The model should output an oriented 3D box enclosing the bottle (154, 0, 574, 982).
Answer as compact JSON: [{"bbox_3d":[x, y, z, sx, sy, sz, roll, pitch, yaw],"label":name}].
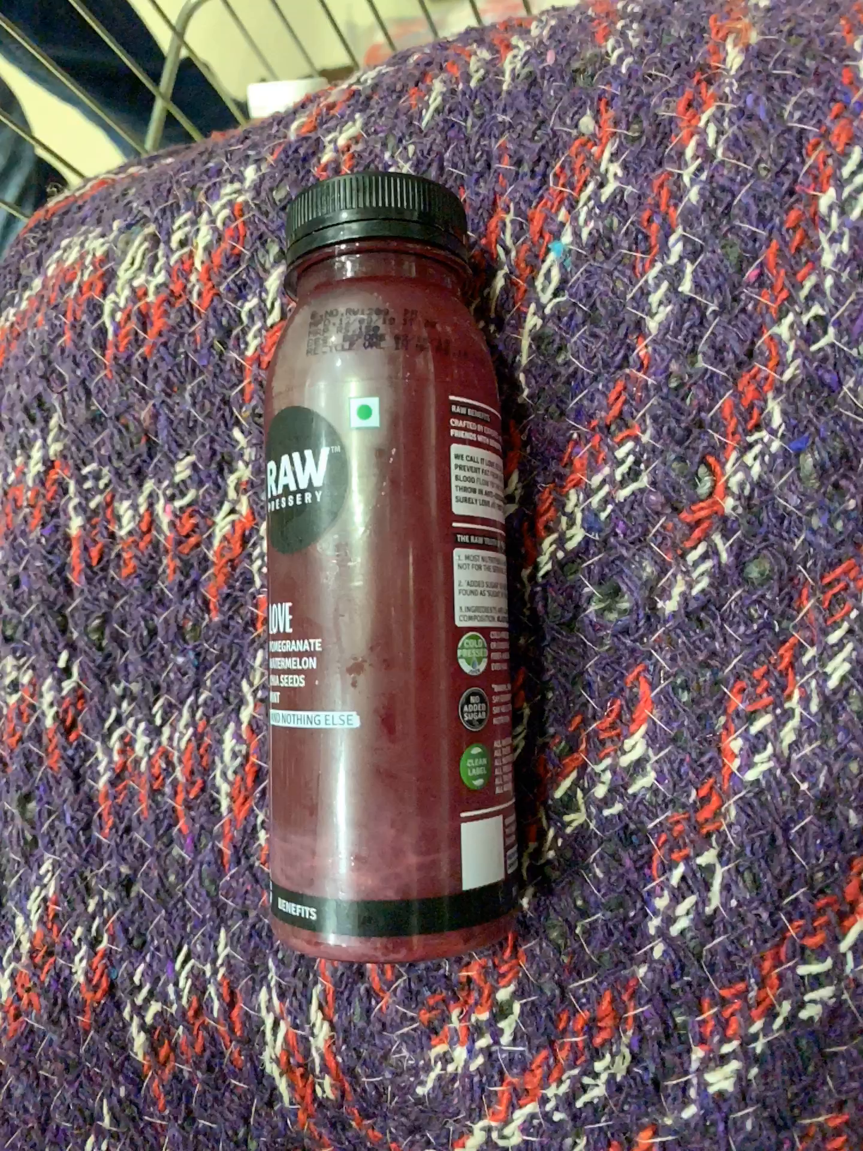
[{"bbox_3d":[-0.015,-0.017,0.190,0.060,0.060,0.170,-7,81,43],"label":"bottle"}]
